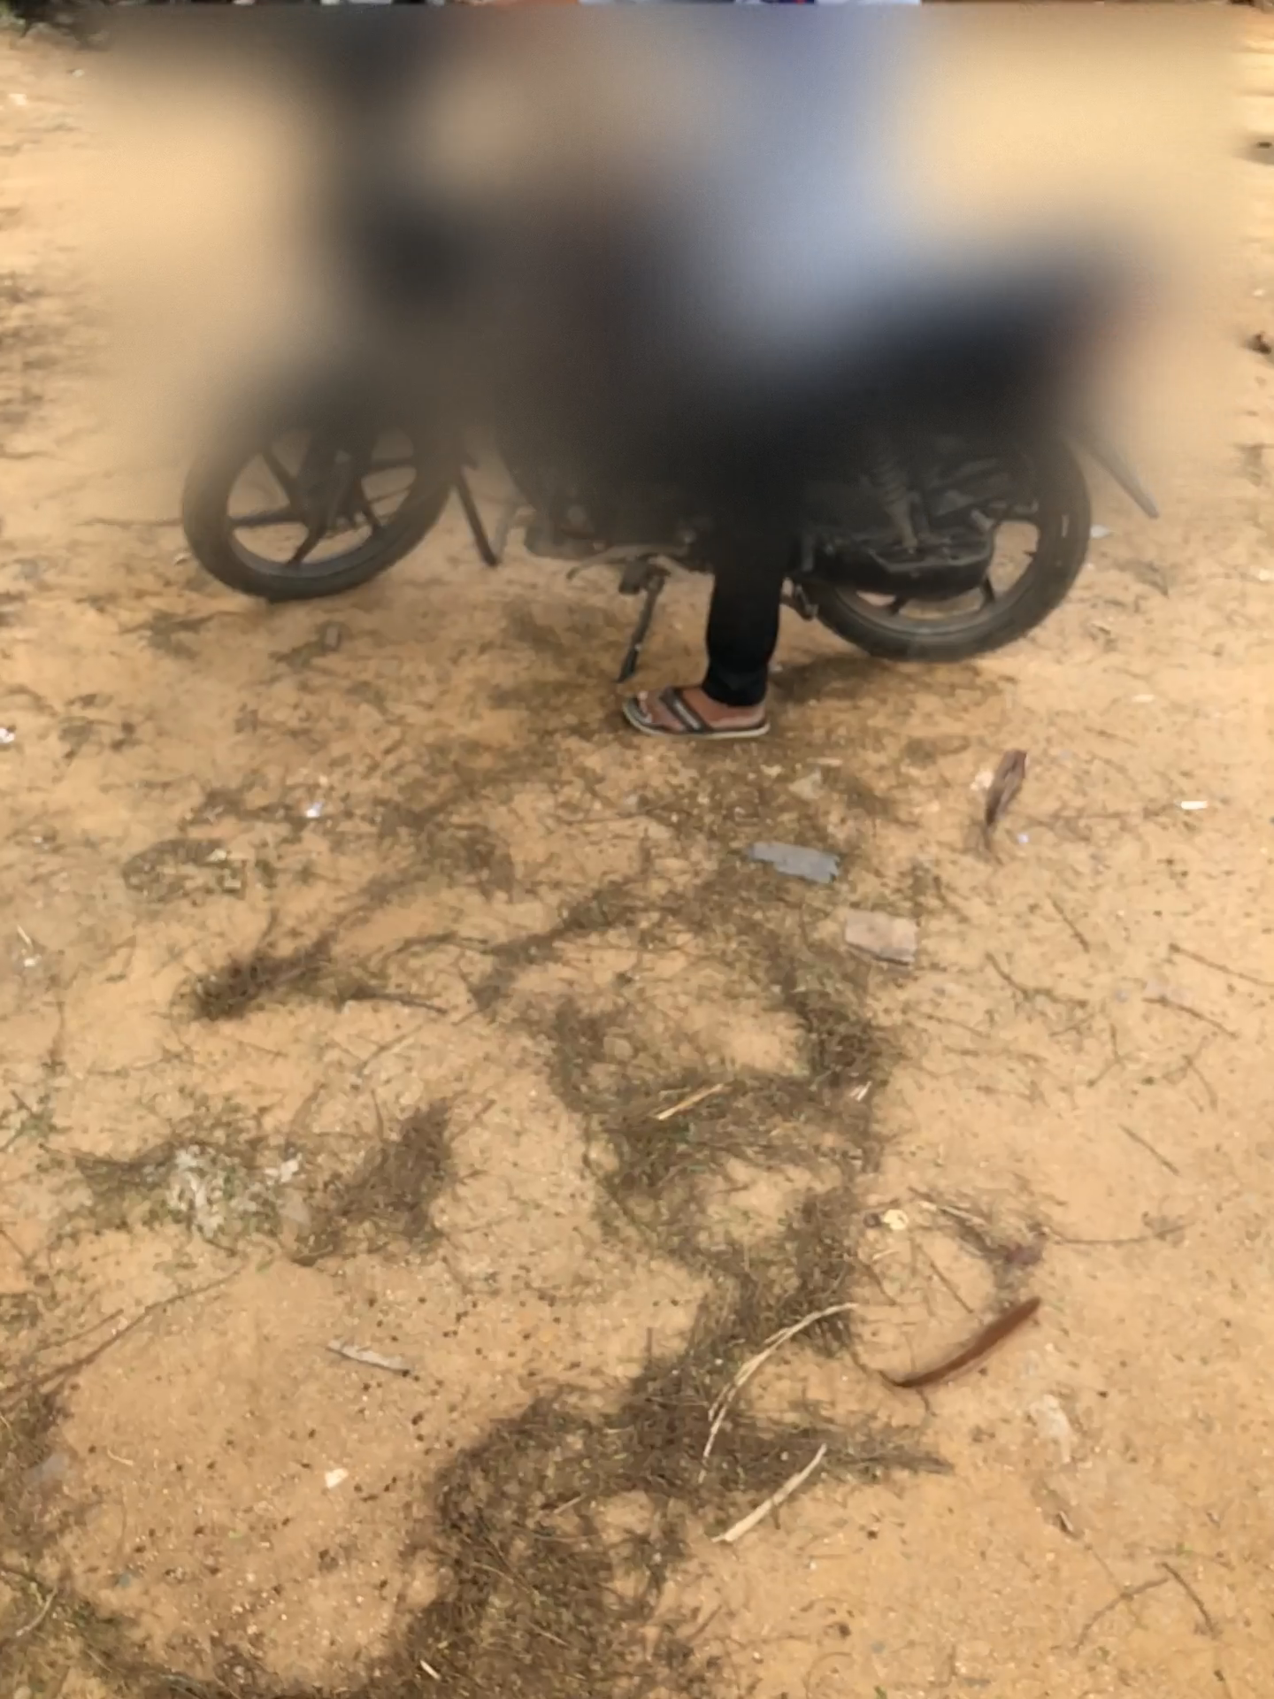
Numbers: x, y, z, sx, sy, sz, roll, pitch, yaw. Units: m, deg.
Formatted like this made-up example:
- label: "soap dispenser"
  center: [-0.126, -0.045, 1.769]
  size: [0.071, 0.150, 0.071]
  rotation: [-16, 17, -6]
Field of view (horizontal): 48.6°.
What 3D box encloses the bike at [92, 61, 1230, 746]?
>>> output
- label: "bike"
  center: [0.003, -0.753, 2.440]
  size: [1.560, 0.913, 0.673]
  rotation: [3, 33, 9]
